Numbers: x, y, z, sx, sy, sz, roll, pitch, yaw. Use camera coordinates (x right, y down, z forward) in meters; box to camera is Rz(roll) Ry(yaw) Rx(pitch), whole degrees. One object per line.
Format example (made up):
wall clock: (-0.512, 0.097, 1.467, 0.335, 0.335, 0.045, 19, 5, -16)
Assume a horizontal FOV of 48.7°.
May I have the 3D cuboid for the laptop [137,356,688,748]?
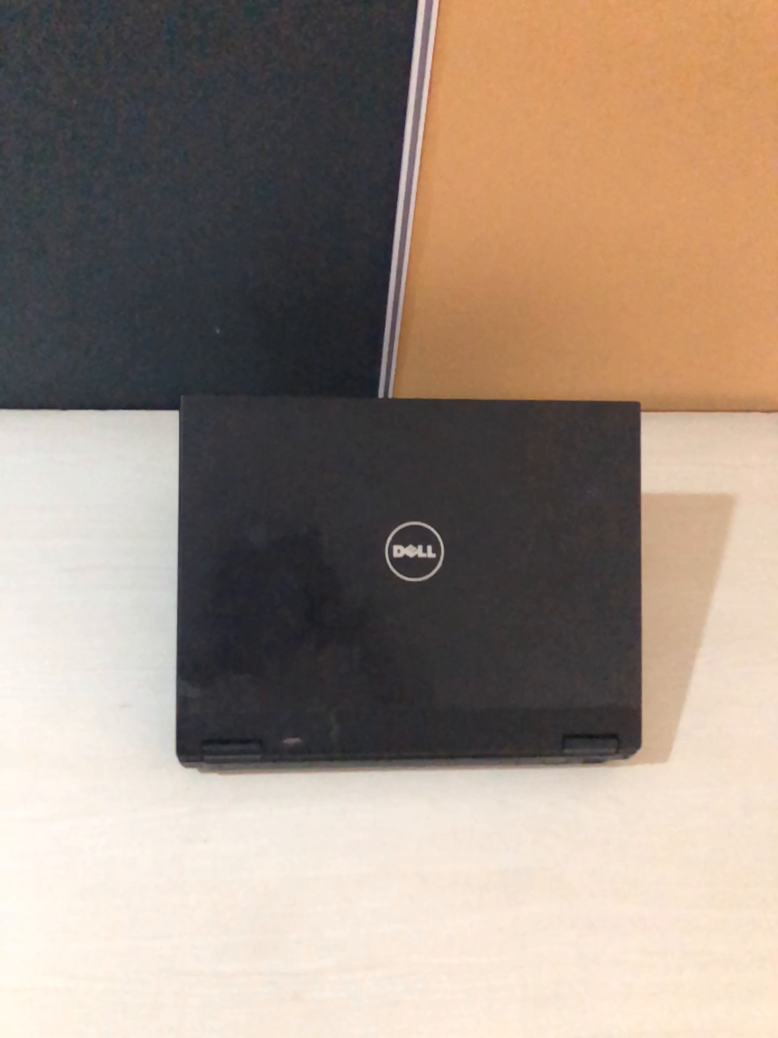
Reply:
laptop: (0.008, 0.020, 0.582, 0.302, 0.126, 0.225, 0, 58, -4)
